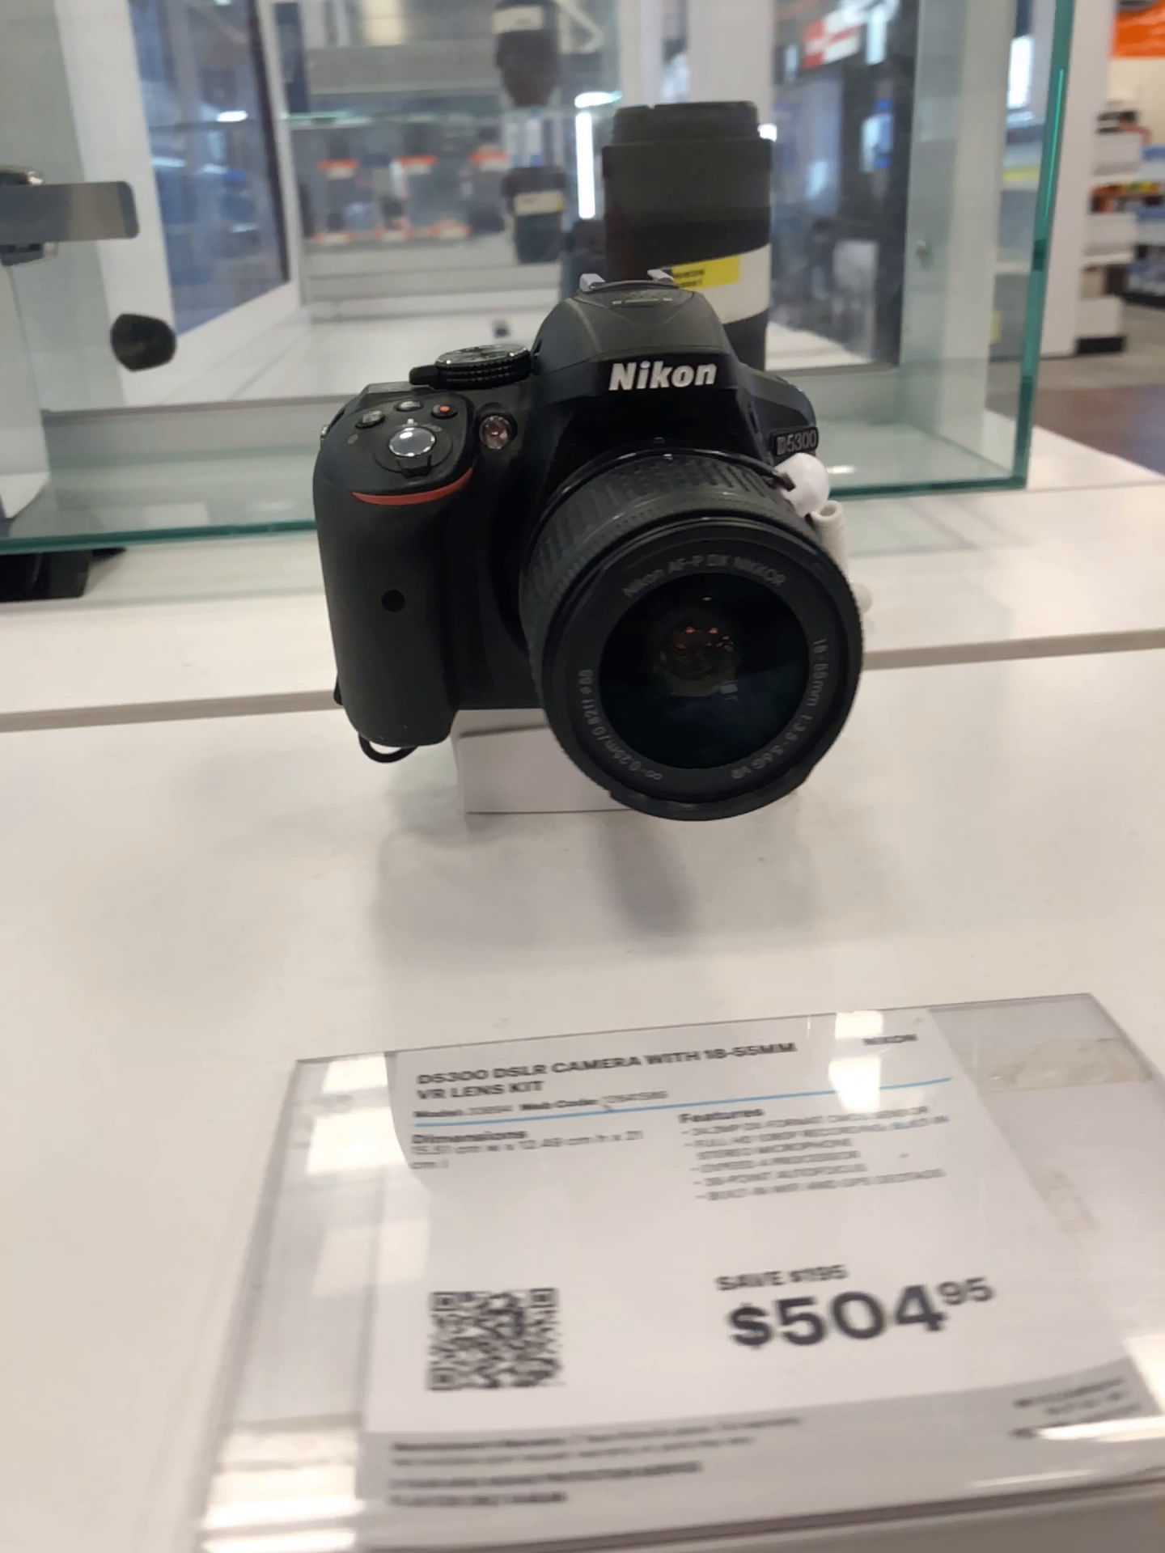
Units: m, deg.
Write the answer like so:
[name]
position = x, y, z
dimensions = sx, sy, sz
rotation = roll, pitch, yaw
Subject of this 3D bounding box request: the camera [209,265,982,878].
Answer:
[camera]
position = -0.001, -0.059, 0.301
dimensions = 0.130, 0.100, 0.141
rotation = -5, 24, -4
